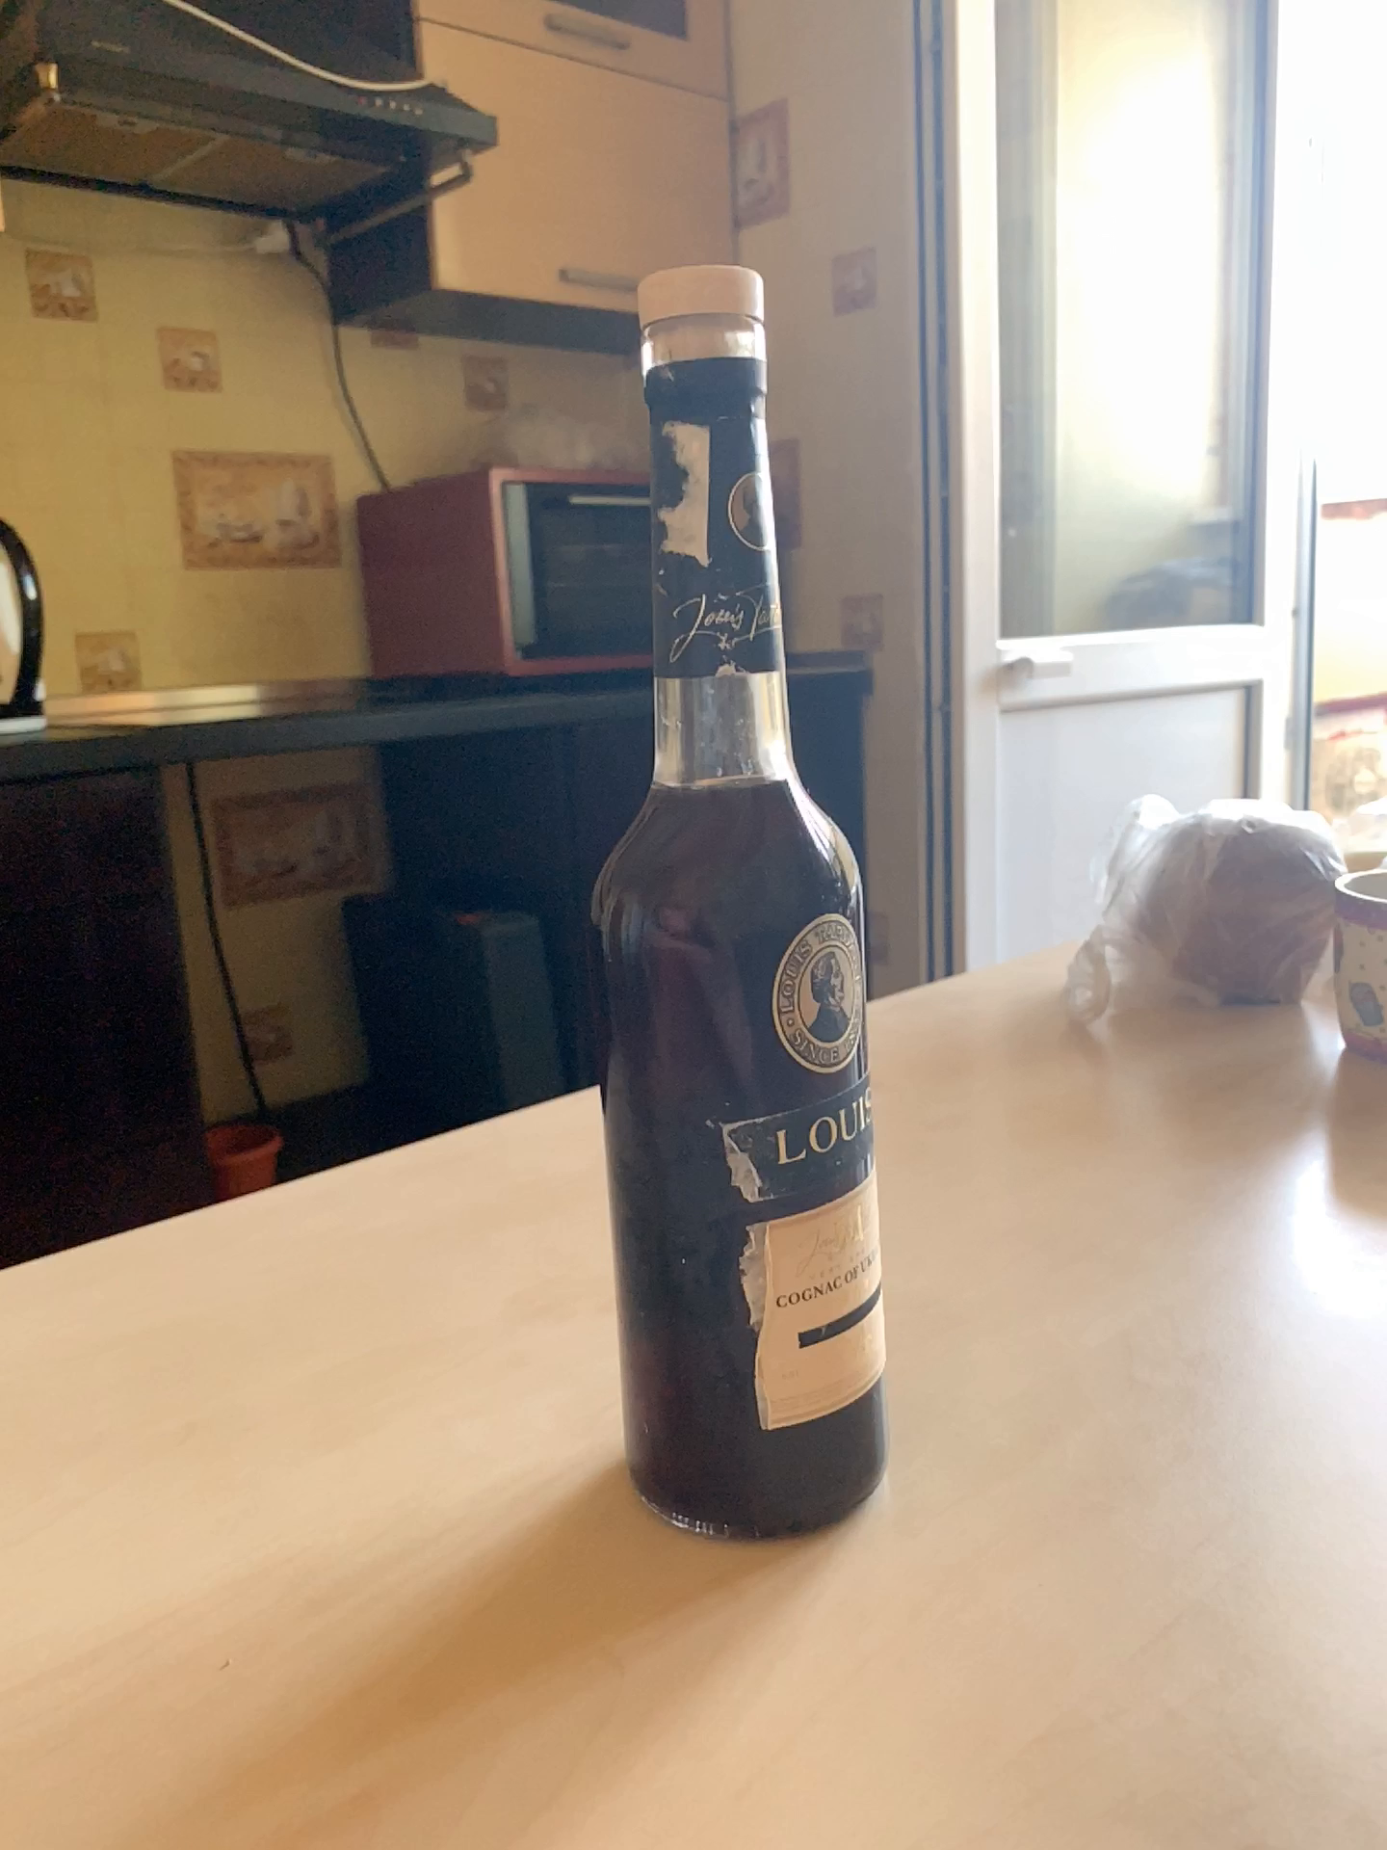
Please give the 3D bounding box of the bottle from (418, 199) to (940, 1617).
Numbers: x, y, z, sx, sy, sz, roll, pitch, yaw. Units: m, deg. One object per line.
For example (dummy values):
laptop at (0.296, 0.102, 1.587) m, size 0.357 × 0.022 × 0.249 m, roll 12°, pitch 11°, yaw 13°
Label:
bottle at (0.004, 0.000, 0.342) m, size 0.080 × 0.289 × 0.080 m, roll -3°, pitch 11°, yaw 1°
